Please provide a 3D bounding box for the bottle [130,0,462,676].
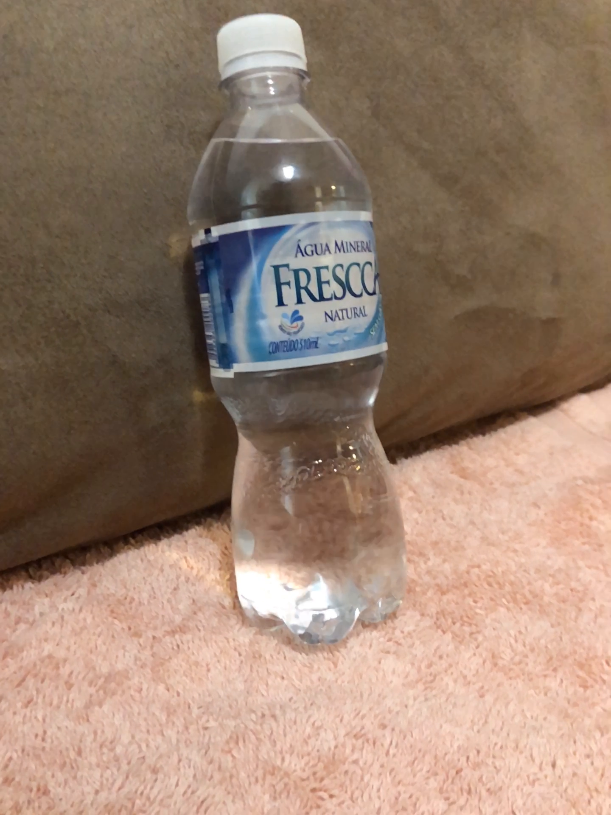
[{"bbox_3d":[-0.004,-0.025,0.257,0.070,0.209,0.080,-12,11,-29],"label":"bottle"}]
